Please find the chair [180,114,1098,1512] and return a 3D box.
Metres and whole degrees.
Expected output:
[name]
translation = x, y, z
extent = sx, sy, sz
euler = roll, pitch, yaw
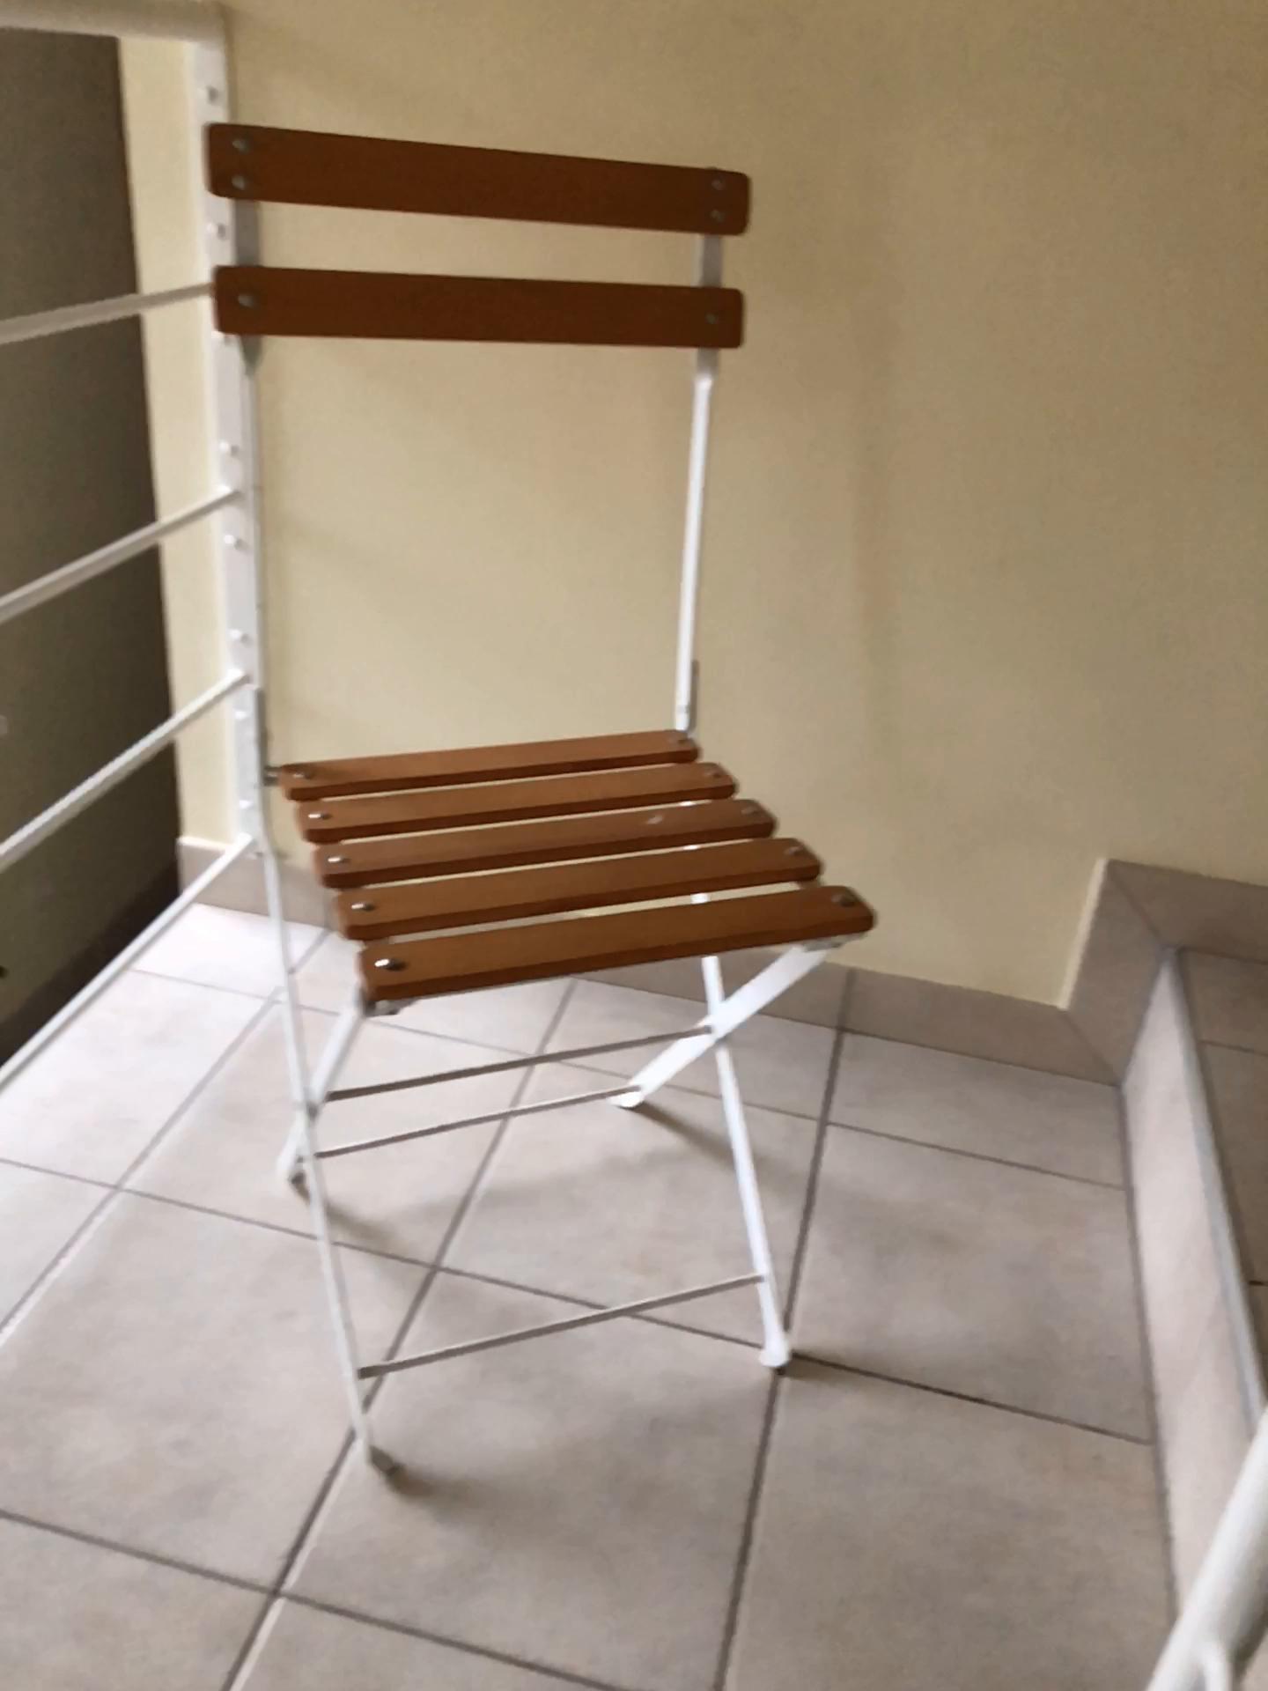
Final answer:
[chair]
translation = -0.059, -0.040, 1.049
extent = 0.441, 0.875, 0.431
euler = -6, 28, -21
